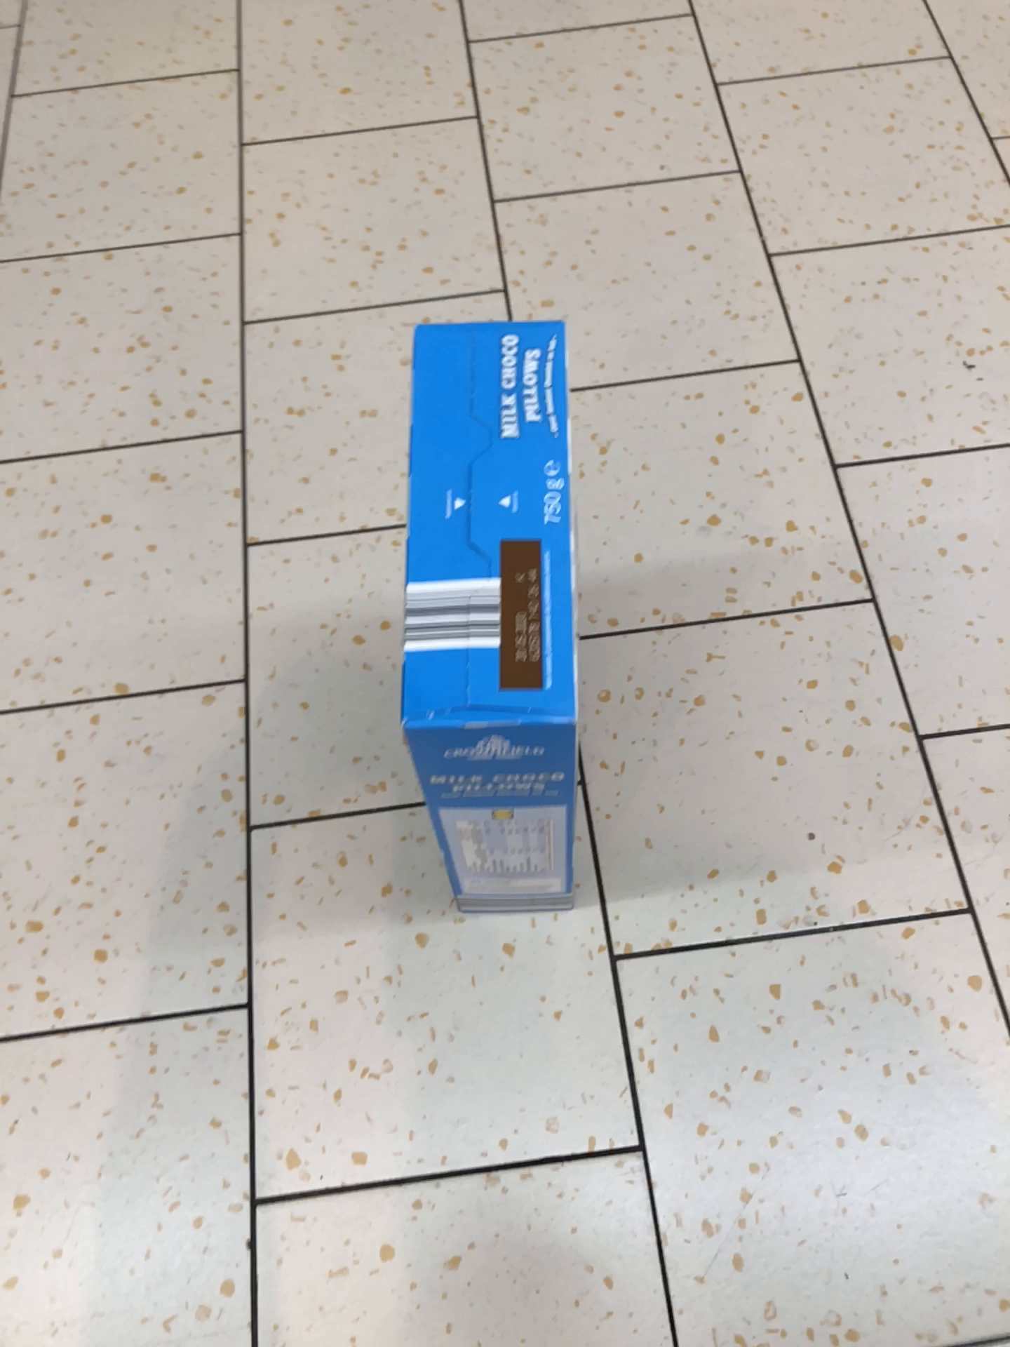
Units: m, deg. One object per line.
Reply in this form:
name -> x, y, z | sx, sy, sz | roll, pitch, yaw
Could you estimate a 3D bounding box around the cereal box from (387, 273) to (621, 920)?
cereal box -> 0.008, -0.018, 0.544 | 0.080, 0.259, 0.211 | -1, 63, 3
